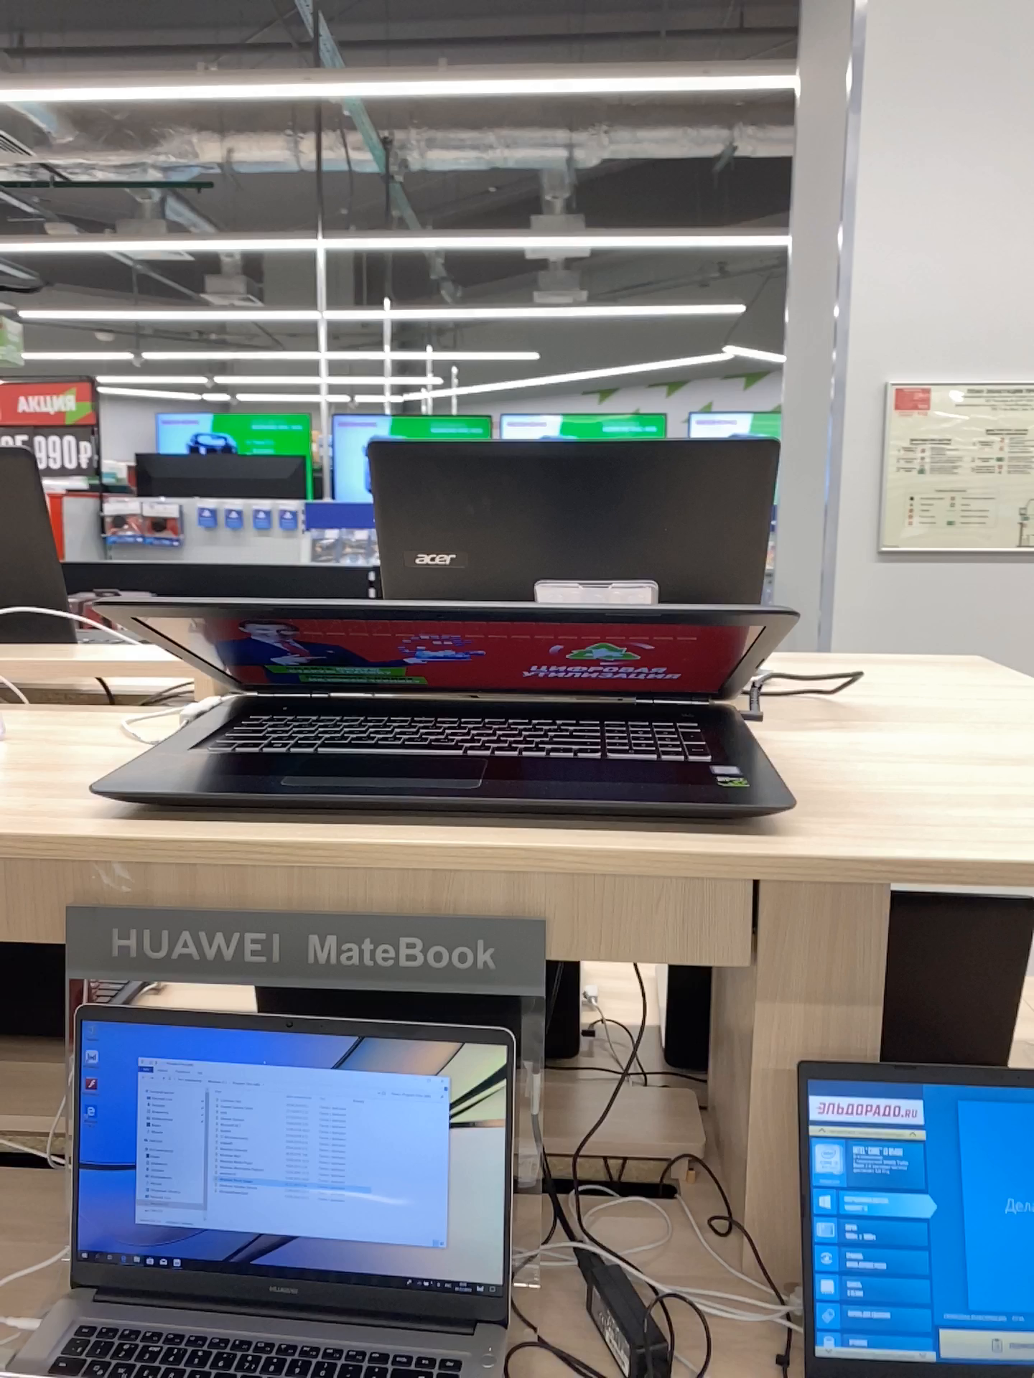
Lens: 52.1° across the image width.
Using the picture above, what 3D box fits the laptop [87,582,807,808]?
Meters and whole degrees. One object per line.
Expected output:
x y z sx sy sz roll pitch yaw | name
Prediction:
-0.037 -0.011 0.740 0.414 0.095 0.269 1 11 4 | laptop
